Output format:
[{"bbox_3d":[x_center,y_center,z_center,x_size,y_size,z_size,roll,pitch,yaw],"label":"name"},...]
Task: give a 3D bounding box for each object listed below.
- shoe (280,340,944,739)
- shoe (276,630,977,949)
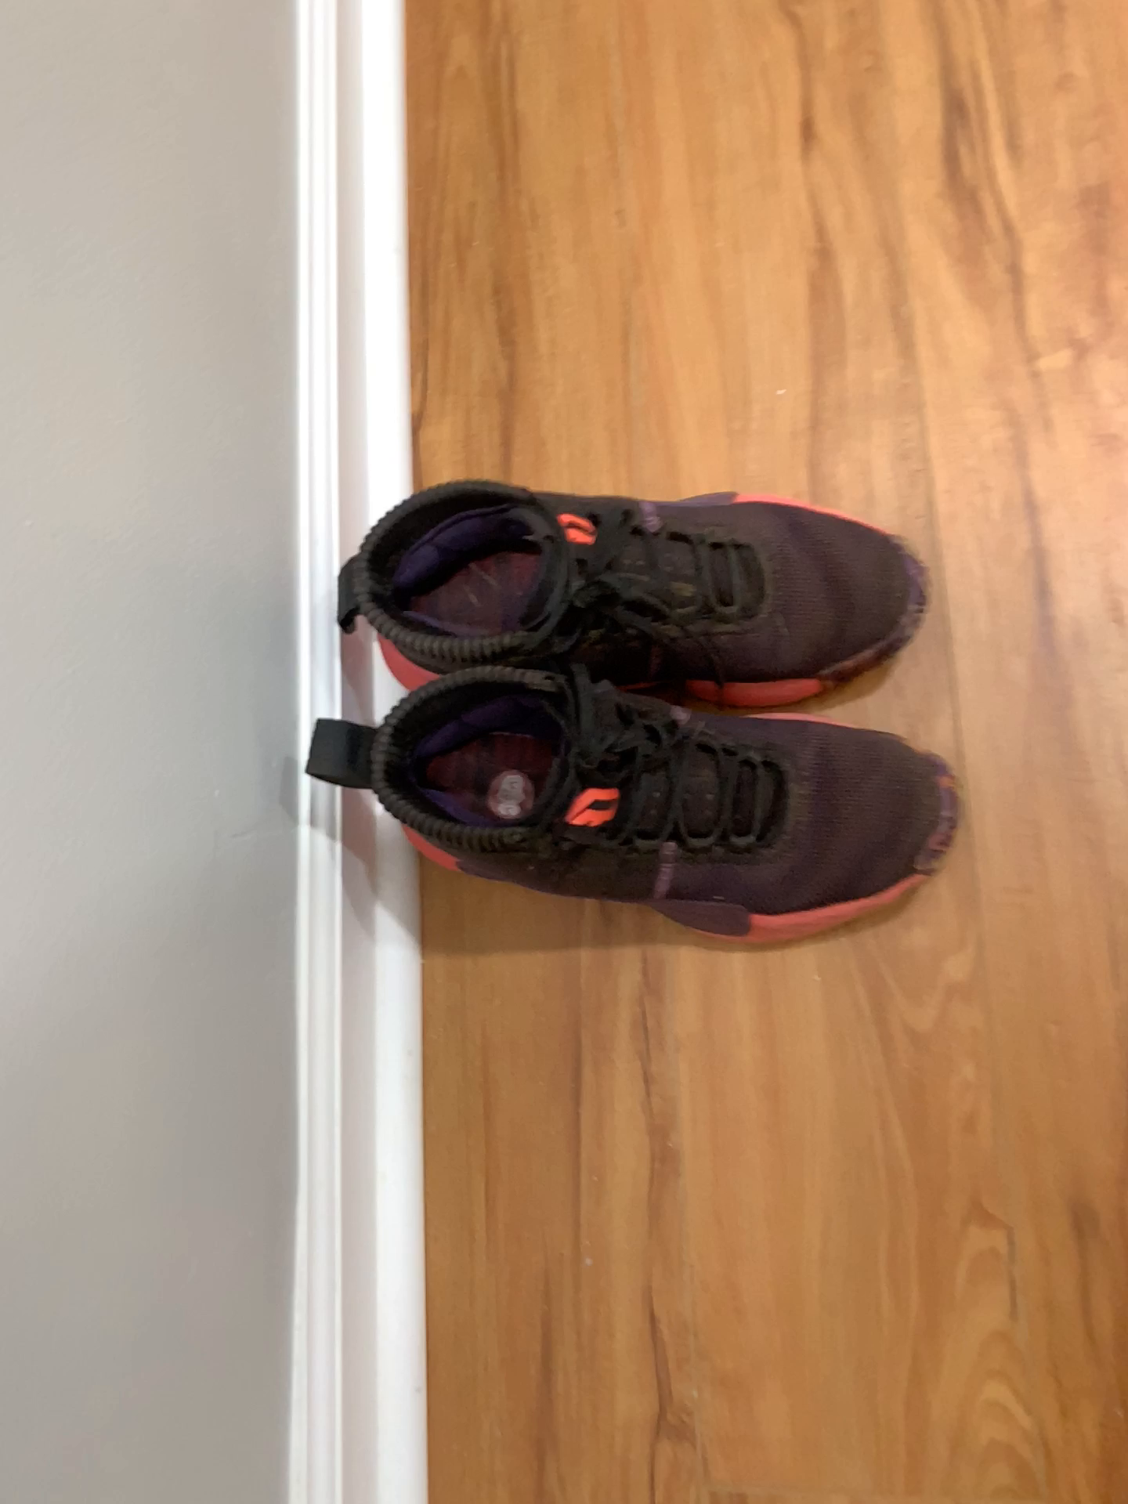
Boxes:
[{"bbox_3d":[0.025,-0.089,0.555,0.285,0.132,0.120,-4,78,14],"label":"shoe"},{"bbox_3d":[0.034,0.020,0.532,0.285,0.132,0.120,2,80,15],"label":"shoe"}]
